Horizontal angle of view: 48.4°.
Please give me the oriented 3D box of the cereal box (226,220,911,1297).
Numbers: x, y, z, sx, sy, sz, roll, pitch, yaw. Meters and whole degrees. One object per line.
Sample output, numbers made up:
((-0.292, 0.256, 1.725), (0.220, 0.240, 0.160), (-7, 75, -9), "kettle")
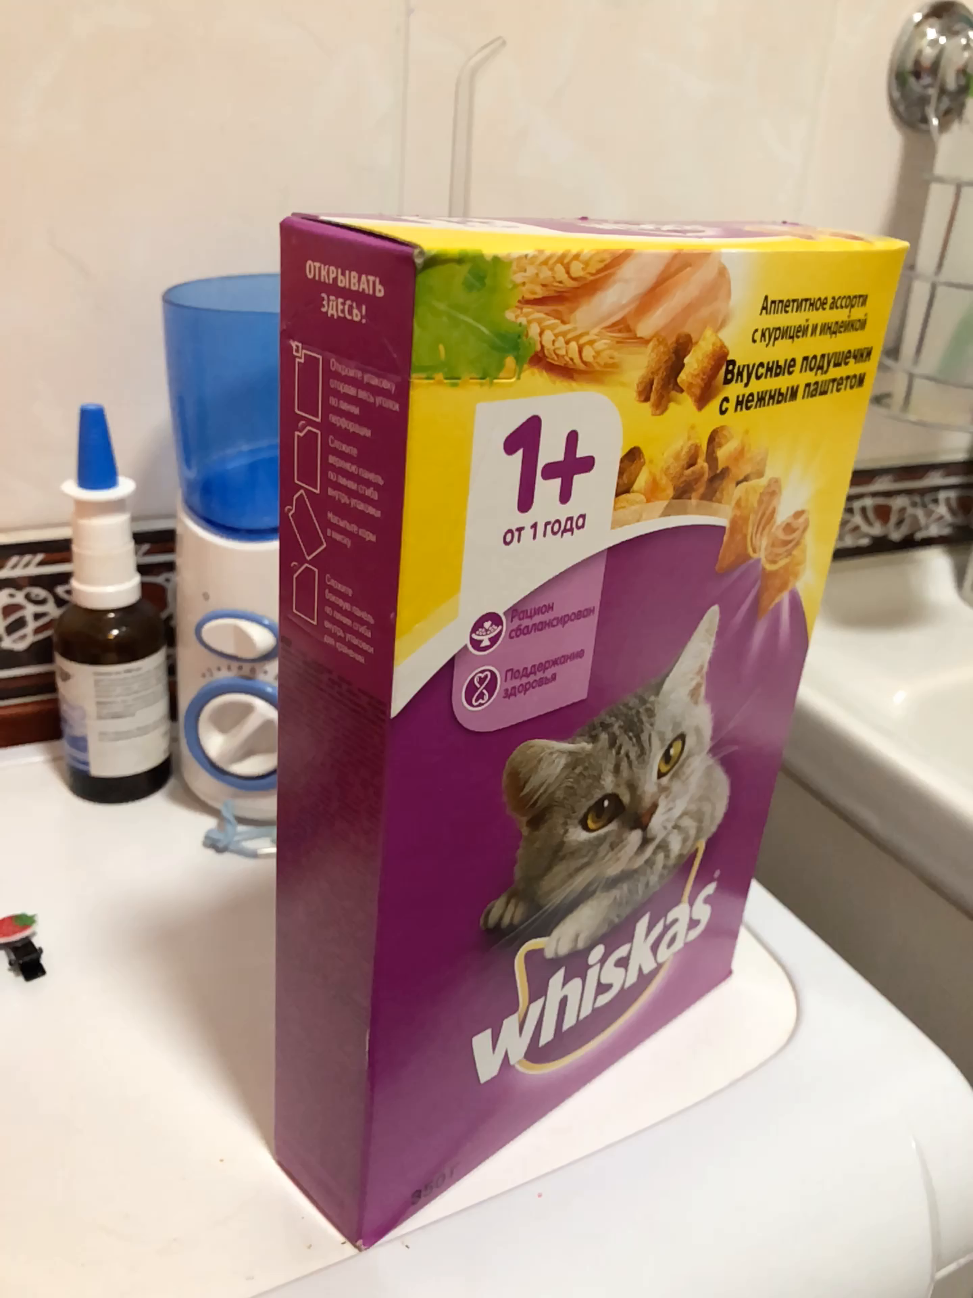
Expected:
((0.018, 0.019, 0.253), (0.151, 0.219, 0.040), (-19, 34, -40), "cereal box")
